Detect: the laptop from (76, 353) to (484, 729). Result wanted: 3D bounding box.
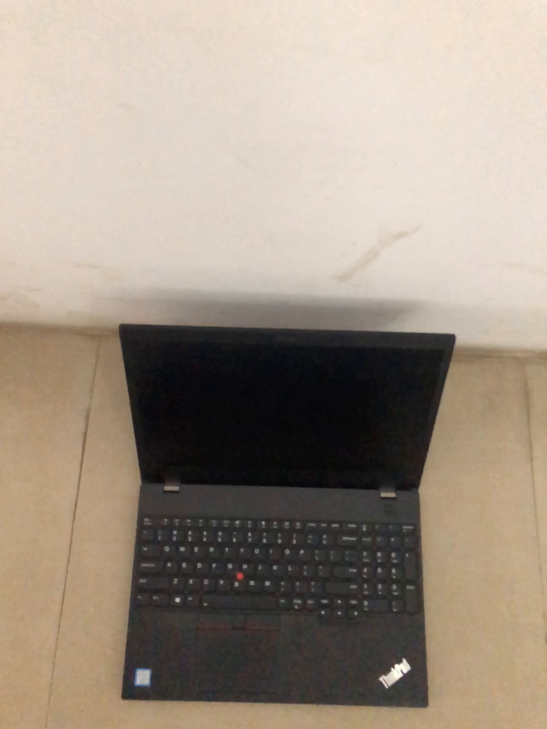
[{"bbox_3d":[0.007,0.189,0.664,0.344,0.193,0.363,2,68,-2],"label":"laptop"}]
